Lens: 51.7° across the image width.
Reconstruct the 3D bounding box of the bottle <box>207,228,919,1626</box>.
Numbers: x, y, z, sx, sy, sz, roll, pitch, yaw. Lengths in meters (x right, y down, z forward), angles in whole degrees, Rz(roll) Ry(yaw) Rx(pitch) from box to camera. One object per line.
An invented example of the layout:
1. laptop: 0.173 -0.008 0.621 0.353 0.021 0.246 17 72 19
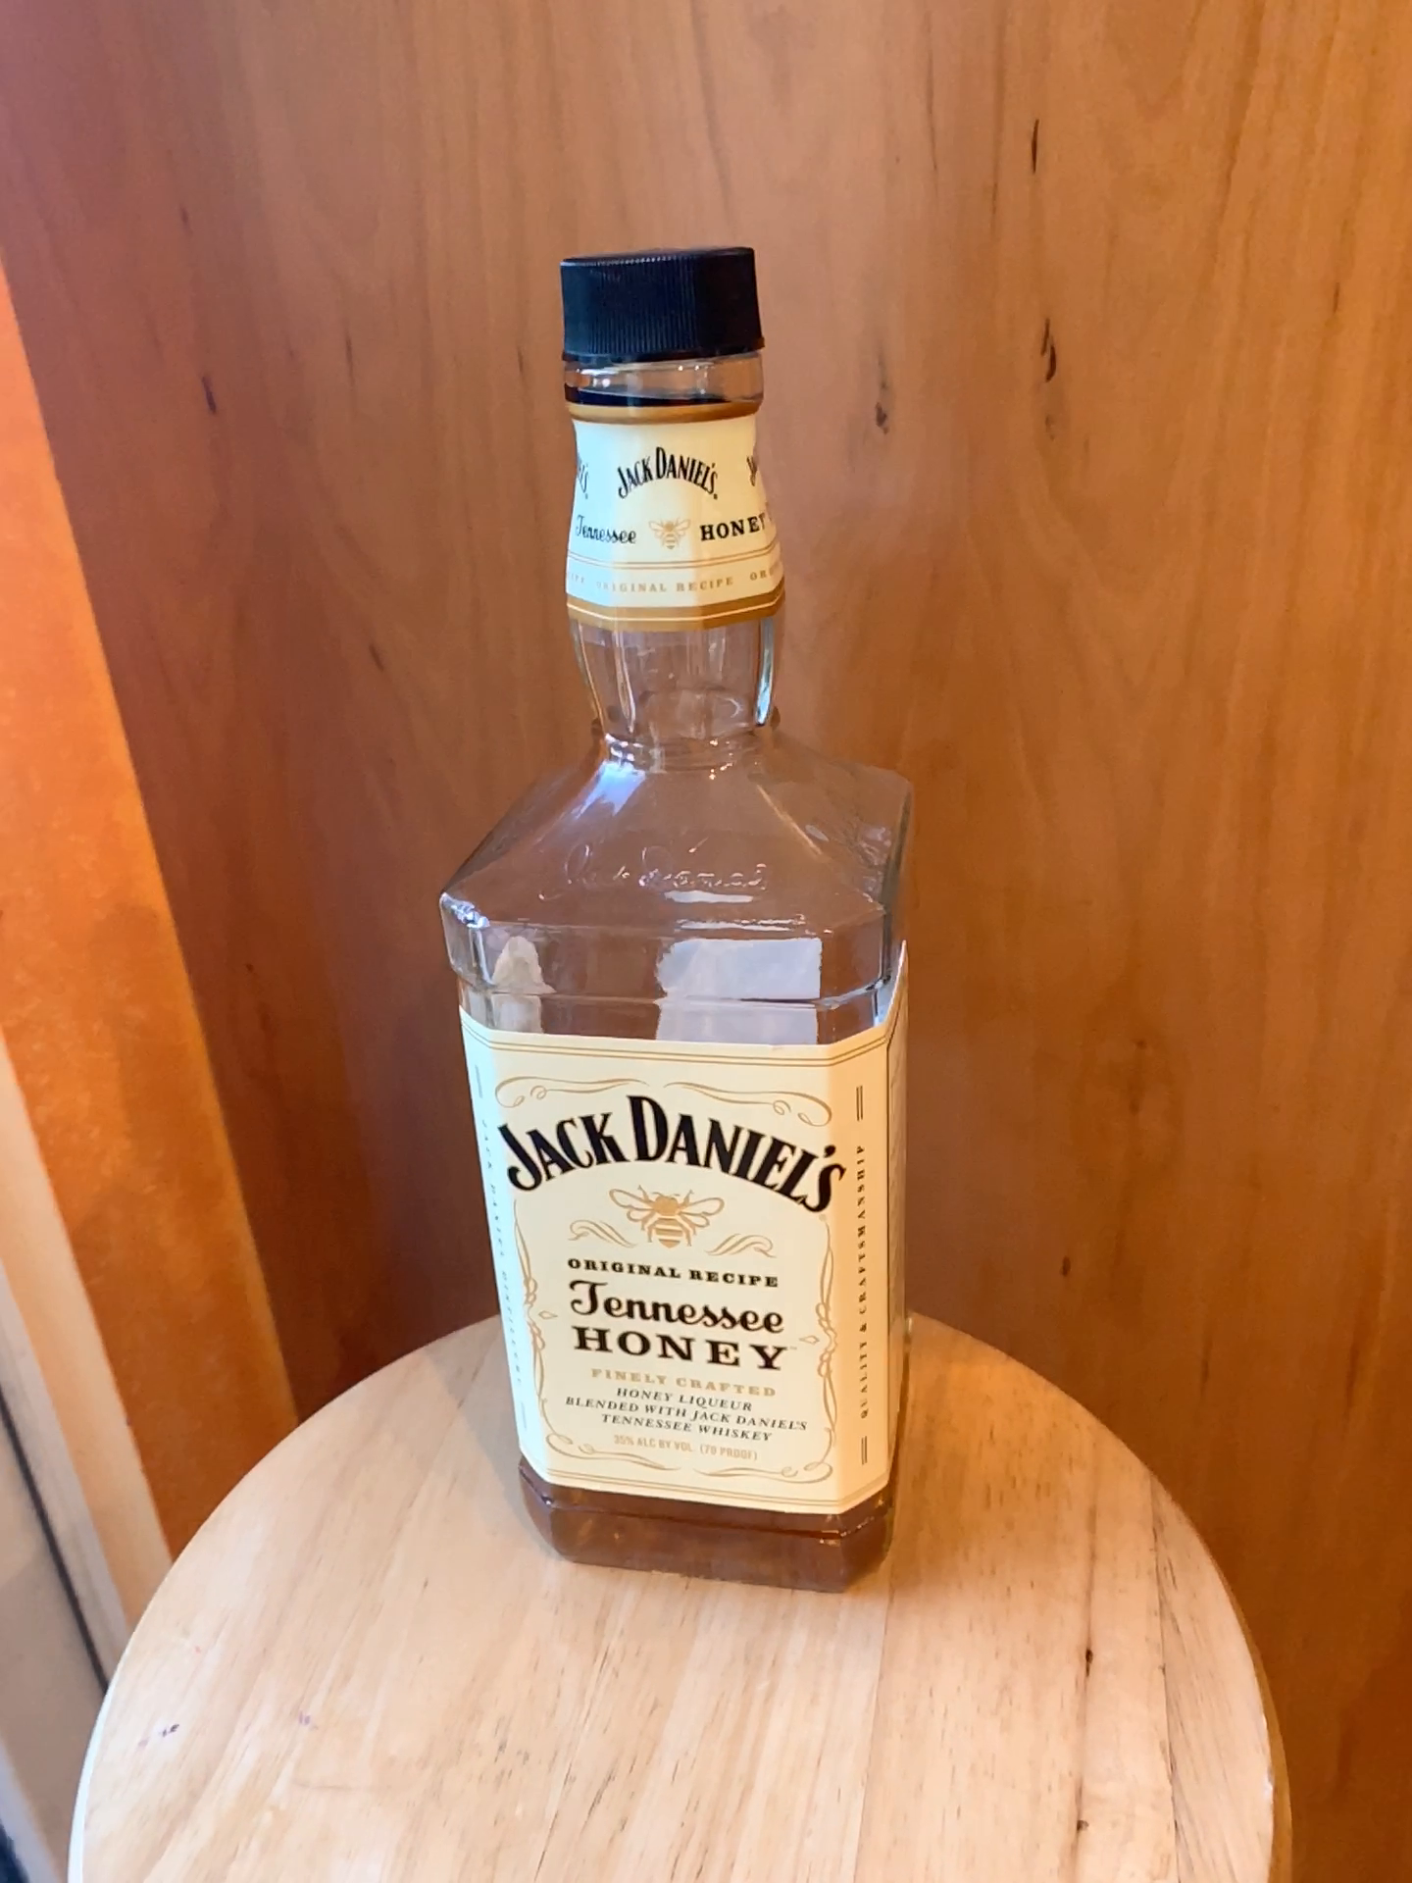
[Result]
1. bottle: -0.010 0.009 0.366 0.120 0.328 0.100 1 27 11
